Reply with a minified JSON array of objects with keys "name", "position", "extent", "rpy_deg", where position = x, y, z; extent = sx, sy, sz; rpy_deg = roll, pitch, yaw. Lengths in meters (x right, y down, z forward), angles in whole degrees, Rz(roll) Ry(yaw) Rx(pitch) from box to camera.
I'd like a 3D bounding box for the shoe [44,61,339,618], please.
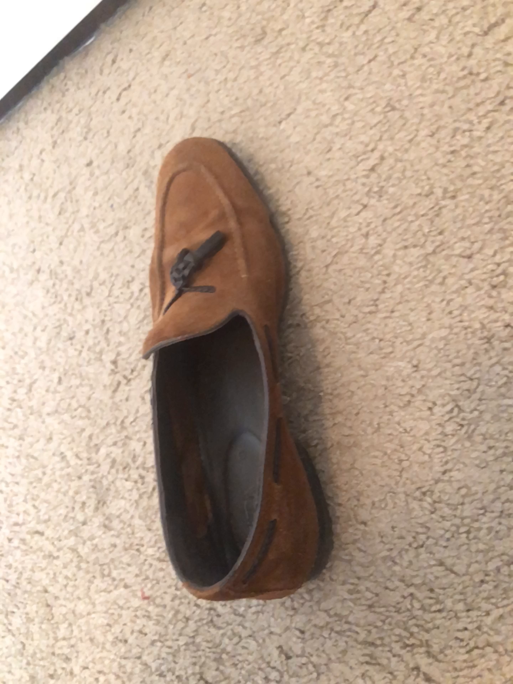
[{"name":"shoe","position":[-0.045,-0.002,0.353],"extent":[0.090,0.100,0.292],"rpy_deg":[-20,74,33]}]
